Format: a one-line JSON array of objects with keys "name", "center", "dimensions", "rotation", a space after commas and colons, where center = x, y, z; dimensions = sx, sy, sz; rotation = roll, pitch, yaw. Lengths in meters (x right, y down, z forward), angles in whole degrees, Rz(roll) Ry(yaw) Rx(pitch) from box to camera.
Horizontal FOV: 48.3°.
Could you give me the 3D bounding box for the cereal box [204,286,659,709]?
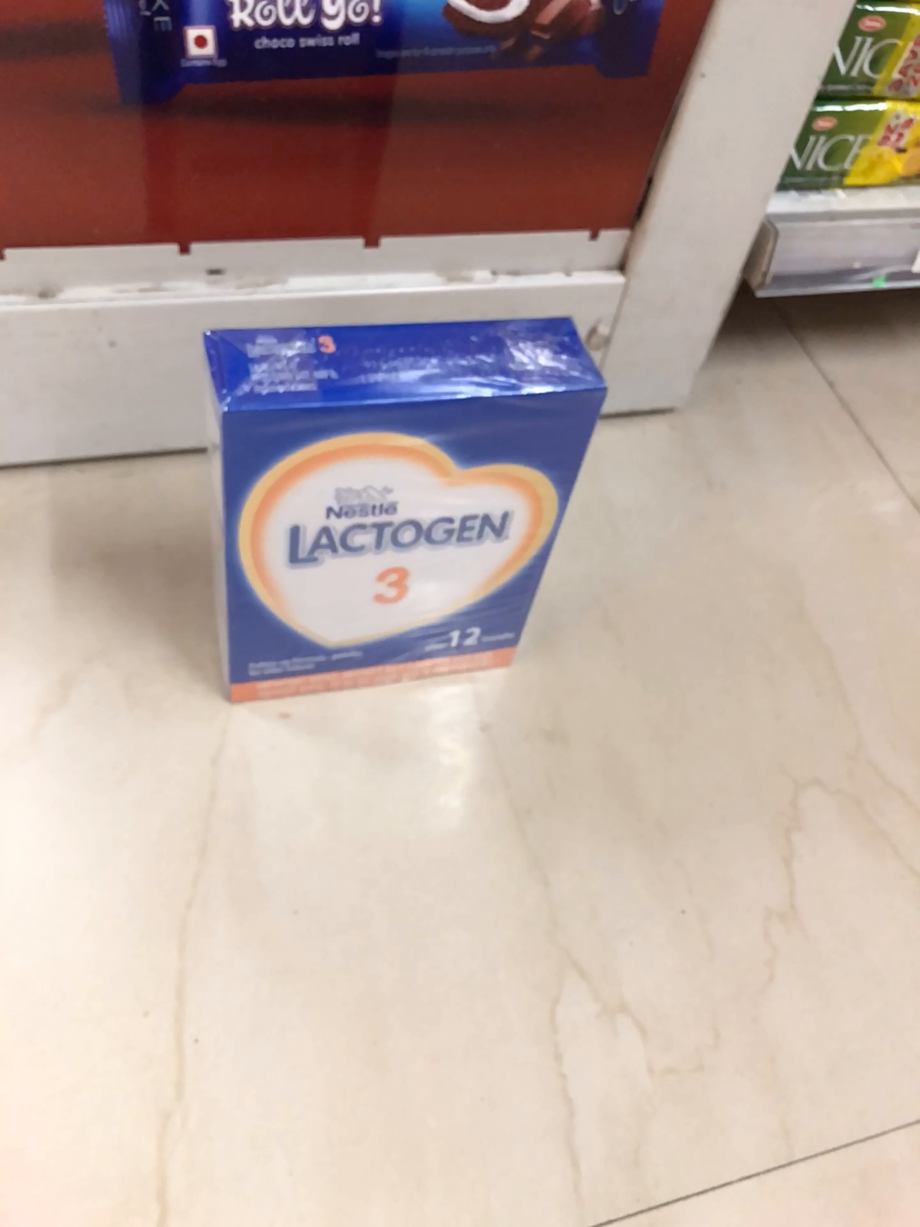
[{"name": "cereal box", "center": [-0.024, -0.044, 0.453], "dimensions": [0.160, 0.189, 0.060], "rotation": [-6, 54, -16]}]
